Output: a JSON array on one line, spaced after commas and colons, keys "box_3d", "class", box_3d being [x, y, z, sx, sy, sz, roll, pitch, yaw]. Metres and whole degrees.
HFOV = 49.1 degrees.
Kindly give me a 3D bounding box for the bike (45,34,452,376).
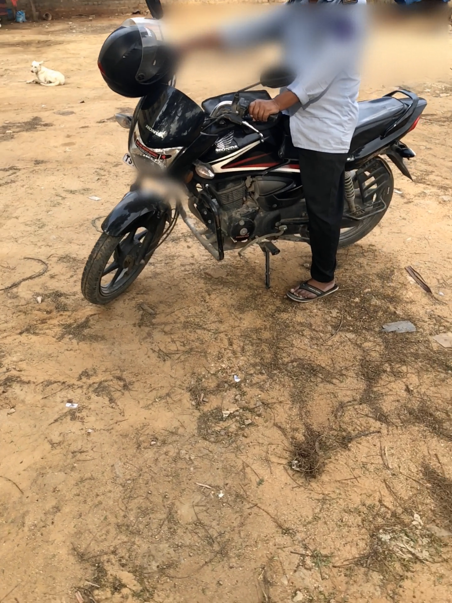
[{"box_3d": [0.136, -0.503, 2.194, 1.565, 0.913, 0.671, -18, 36, -16], "class": "bike"}]
